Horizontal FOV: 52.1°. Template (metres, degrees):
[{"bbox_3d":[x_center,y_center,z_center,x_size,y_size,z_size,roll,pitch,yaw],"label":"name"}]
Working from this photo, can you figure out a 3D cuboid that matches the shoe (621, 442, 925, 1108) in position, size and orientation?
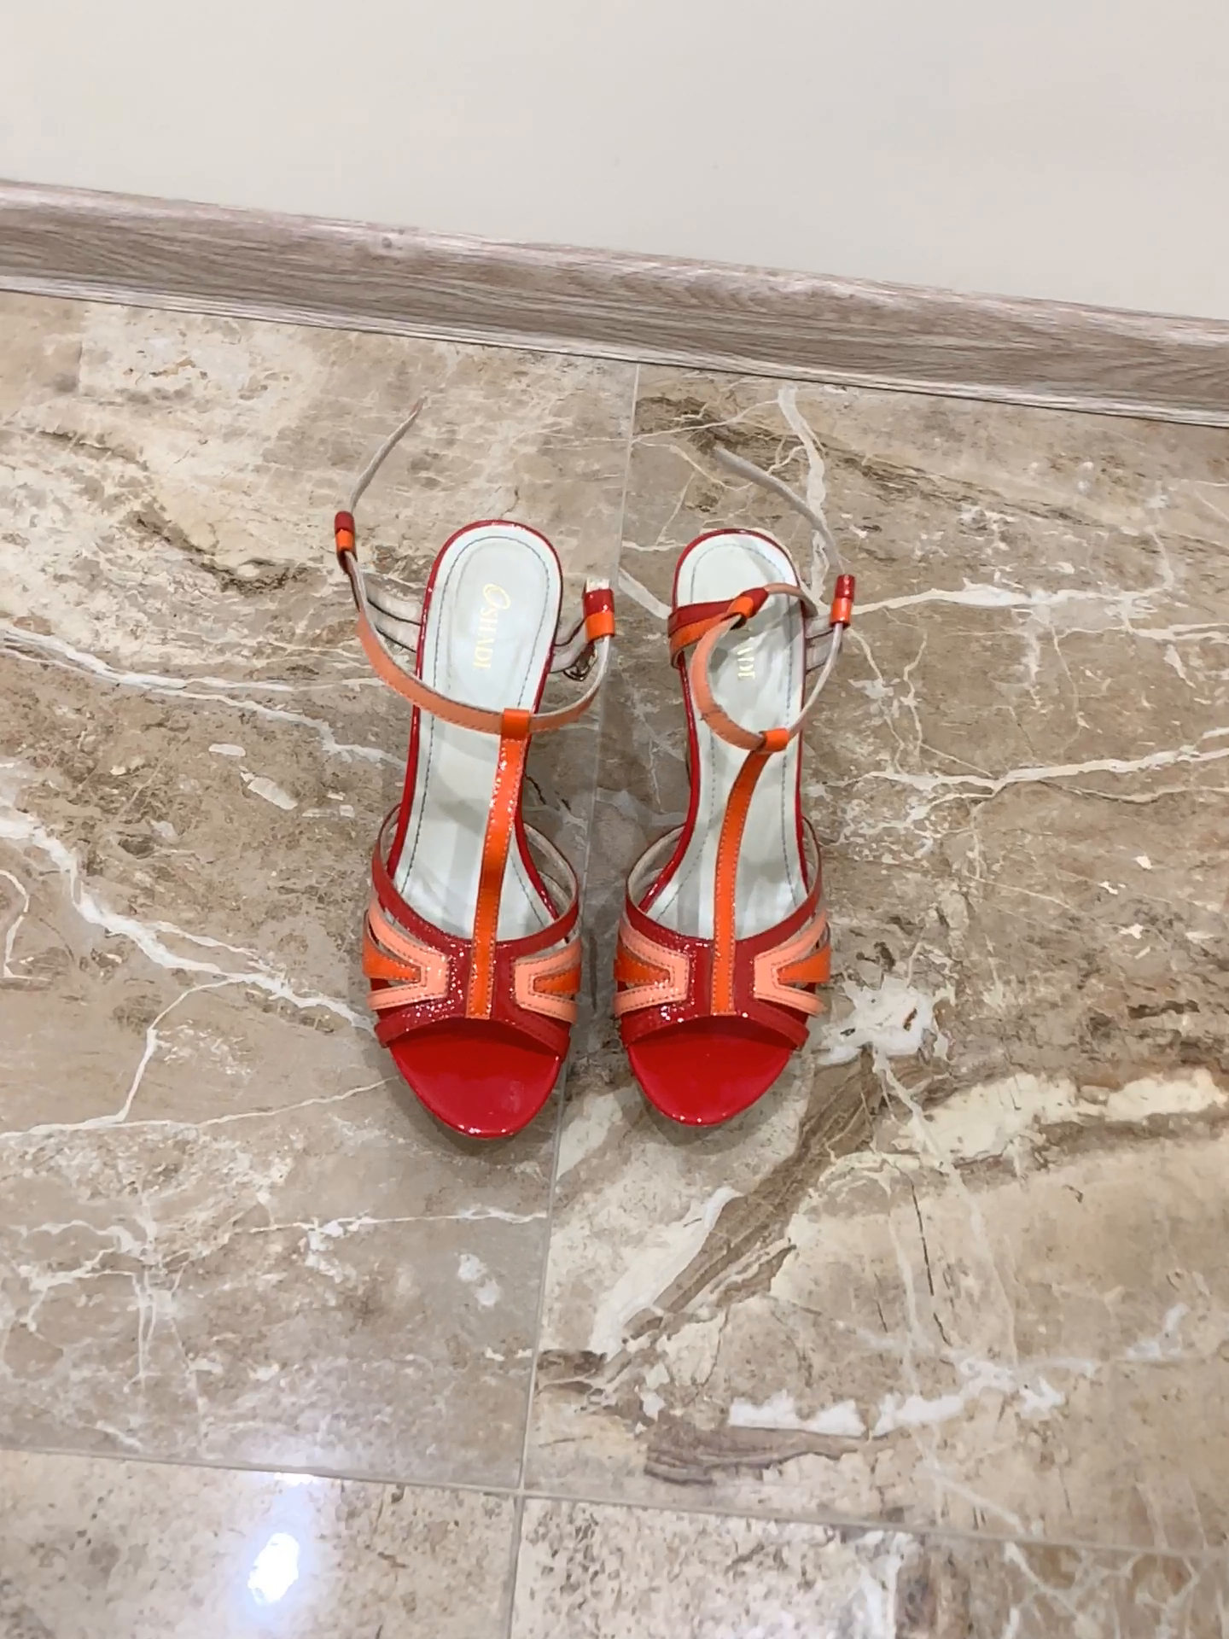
[{"bbox_3d":[0.050,-0.017,0.485,0.080,0.130,0.218,3,58,-3],"label":"shoe"}]

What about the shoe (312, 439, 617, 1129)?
[{"bbox_3d":[-0.049,-0.013,0.479,0.083,0.140,0.218,3,58,-3],"label":"shoe"}]
